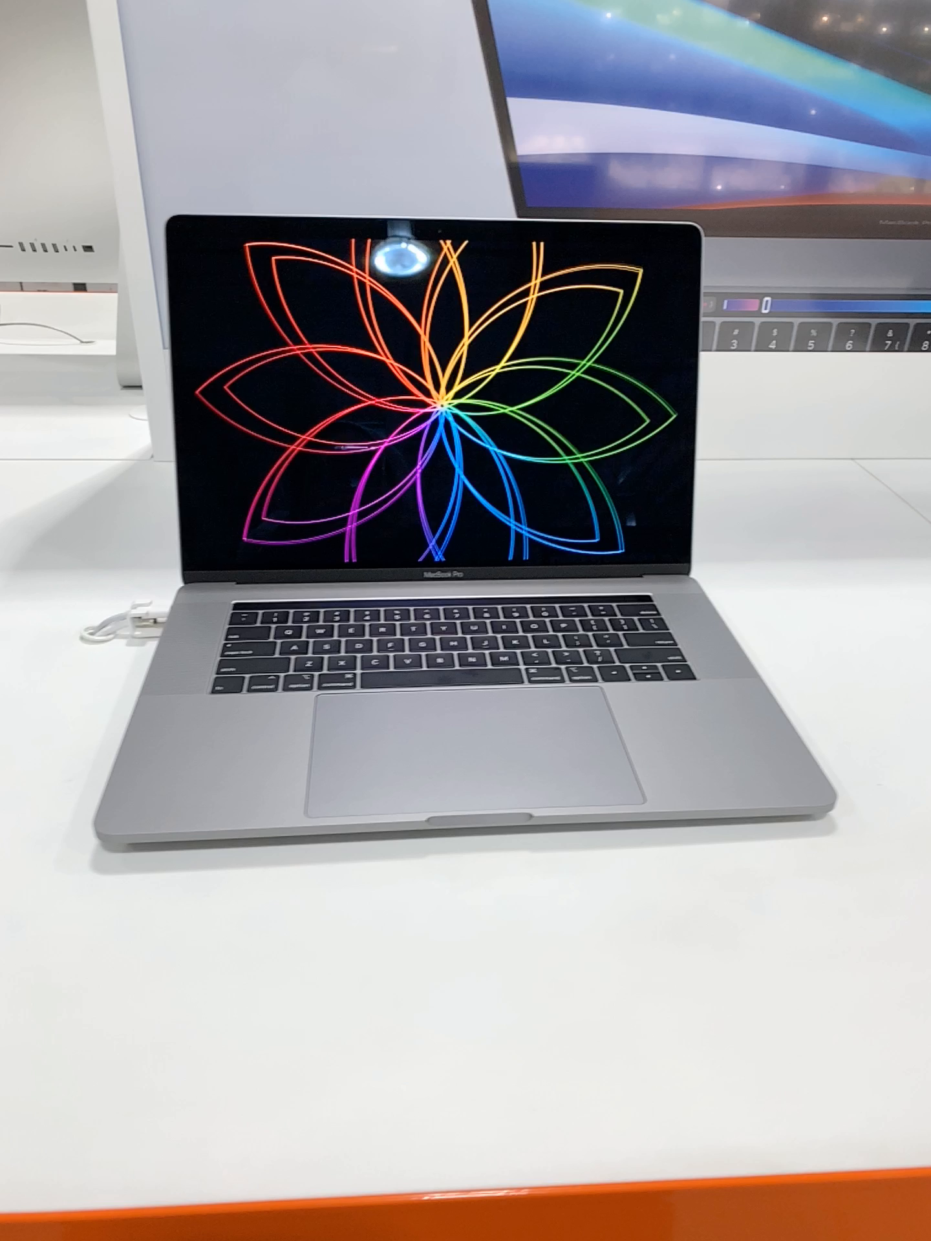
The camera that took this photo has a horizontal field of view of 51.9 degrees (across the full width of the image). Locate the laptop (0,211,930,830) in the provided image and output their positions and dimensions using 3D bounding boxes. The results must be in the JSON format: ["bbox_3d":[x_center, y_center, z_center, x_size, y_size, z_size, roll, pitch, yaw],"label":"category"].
[{"bbox_3d":[-0.006,-0.079,0.500,0.330,0.205,0.304,-1,29,-6],"label":"laptop"}]
